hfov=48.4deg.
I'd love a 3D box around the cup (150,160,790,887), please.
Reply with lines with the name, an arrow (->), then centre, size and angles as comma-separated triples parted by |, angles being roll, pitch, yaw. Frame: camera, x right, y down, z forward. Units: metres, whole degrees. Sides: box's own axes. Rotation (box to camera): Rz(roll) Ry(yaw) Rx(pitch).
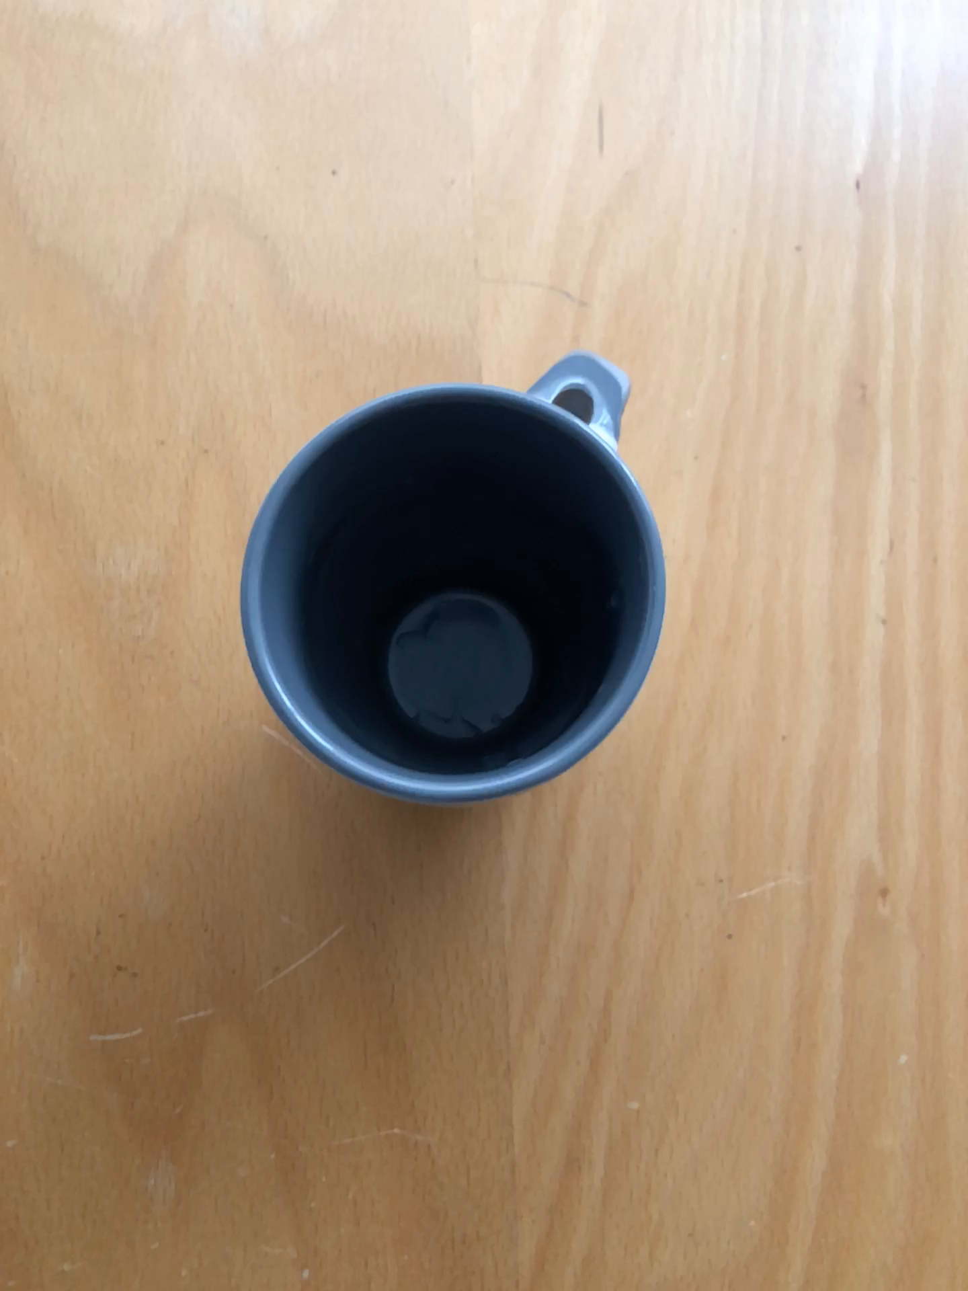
cup -> 0.000, -0.020, 0.257 | 0.084, 0.093, 0.126 | 22, 80, 4
